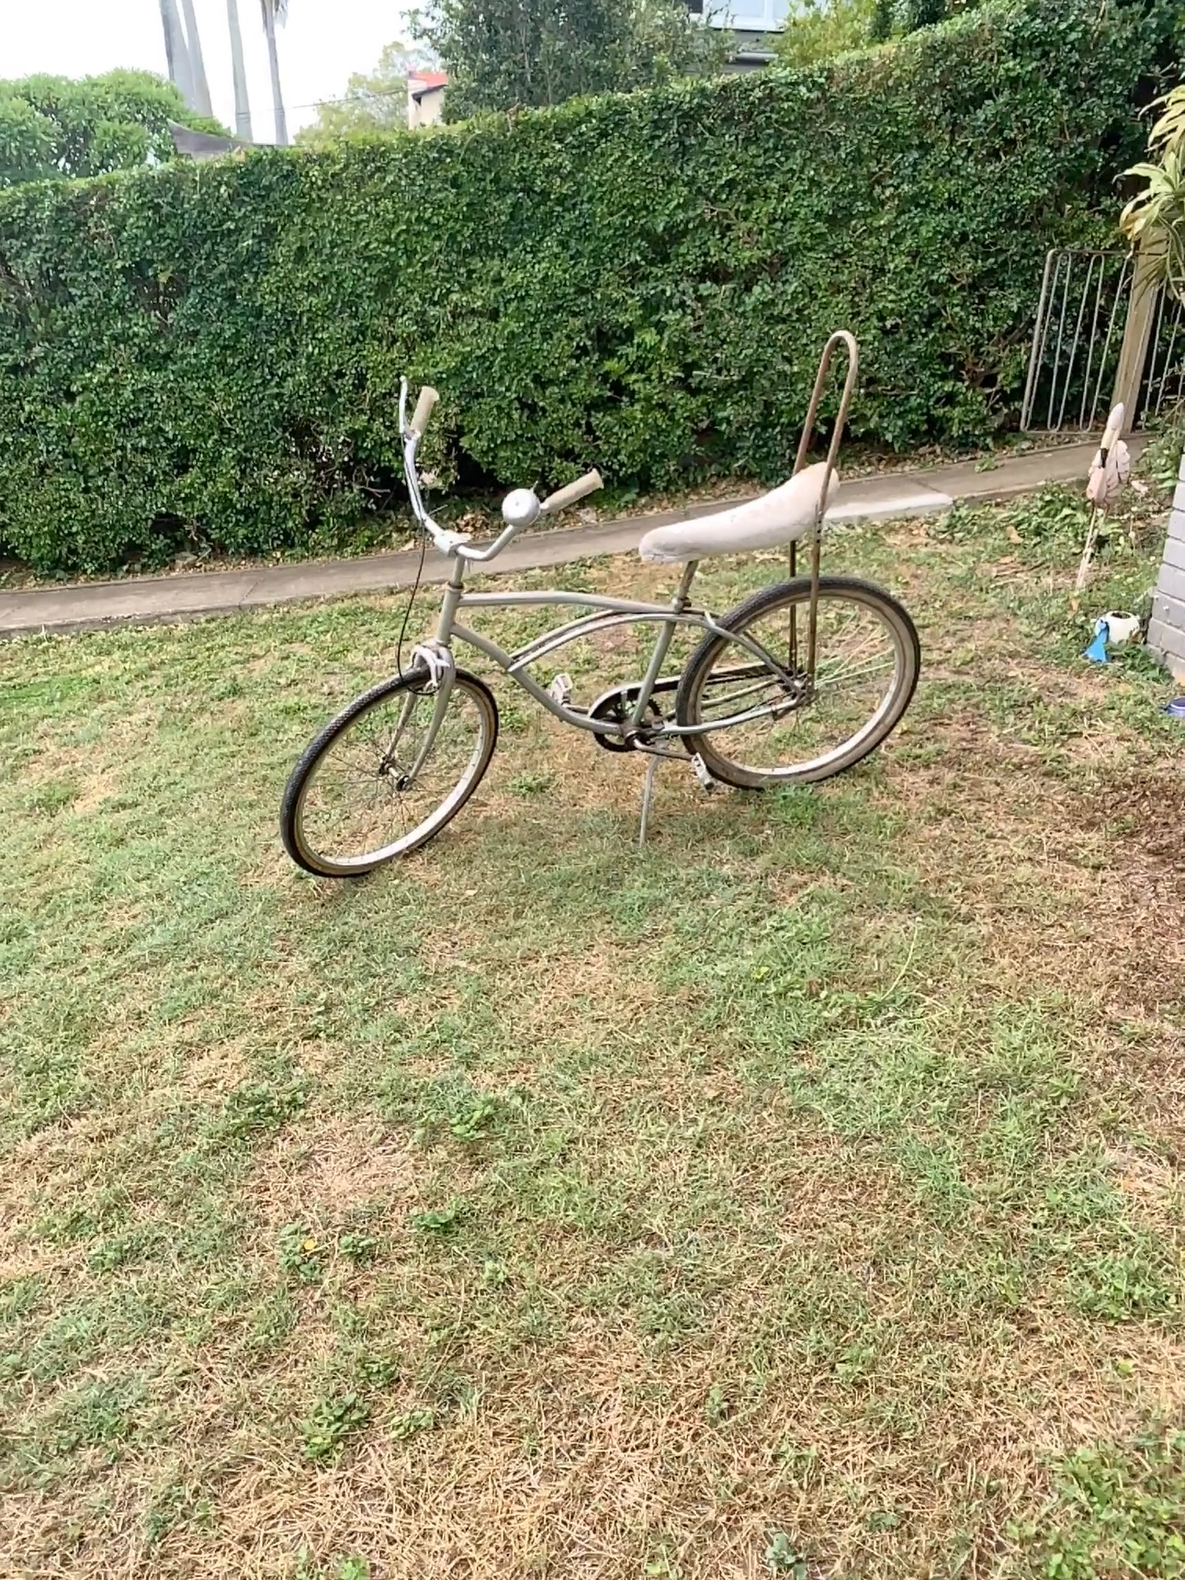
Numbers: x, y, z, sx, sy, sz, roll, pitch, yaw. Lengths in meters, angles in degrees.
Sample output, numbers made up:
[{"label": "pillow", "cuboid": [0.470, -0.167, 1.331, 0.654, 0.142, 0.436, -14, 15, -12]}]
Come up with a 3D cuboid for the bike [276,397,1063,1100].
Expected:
[{"label": "bike", "cuboid": [0.086, -0.194, 2.861, 1.599, 0.991, 0.804, -13, 24, -12]}]
